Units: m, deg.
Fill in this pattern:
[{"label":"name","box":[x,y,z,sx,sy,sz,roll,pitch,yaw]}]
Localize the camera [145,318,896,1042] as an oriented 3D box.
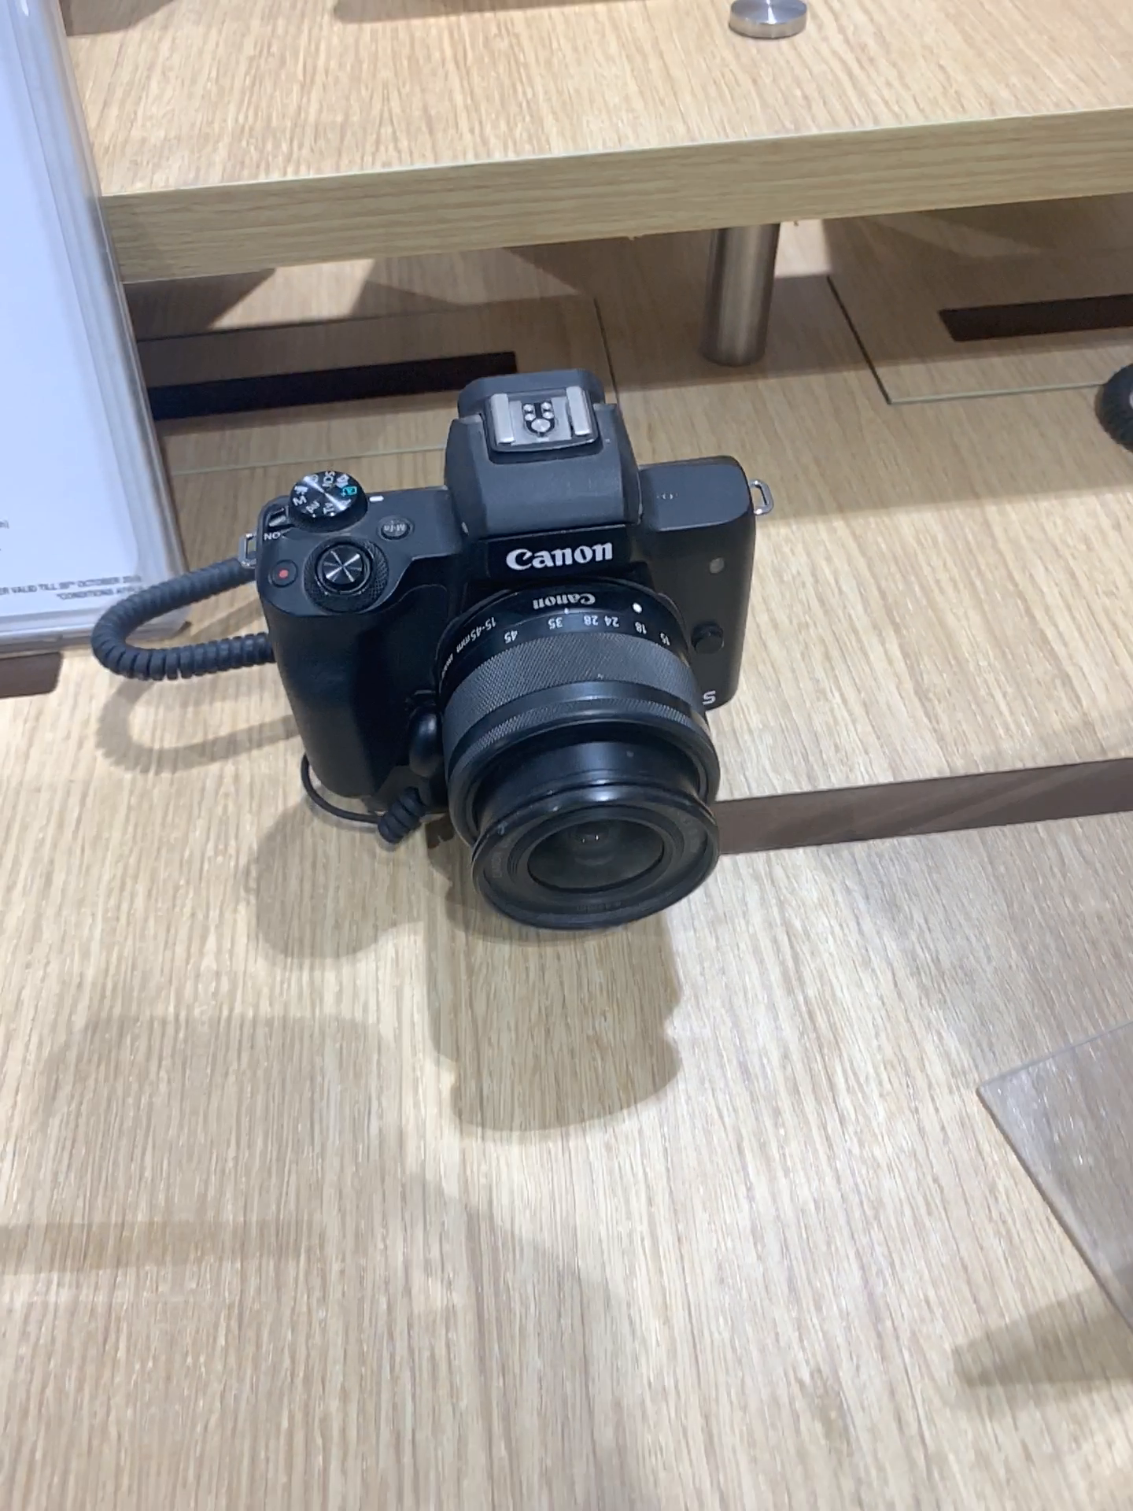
[{"label":"camera","box":[-0.012,-0.016,0.255,0.120,0.100,0.100,-9,51,-4]}]
